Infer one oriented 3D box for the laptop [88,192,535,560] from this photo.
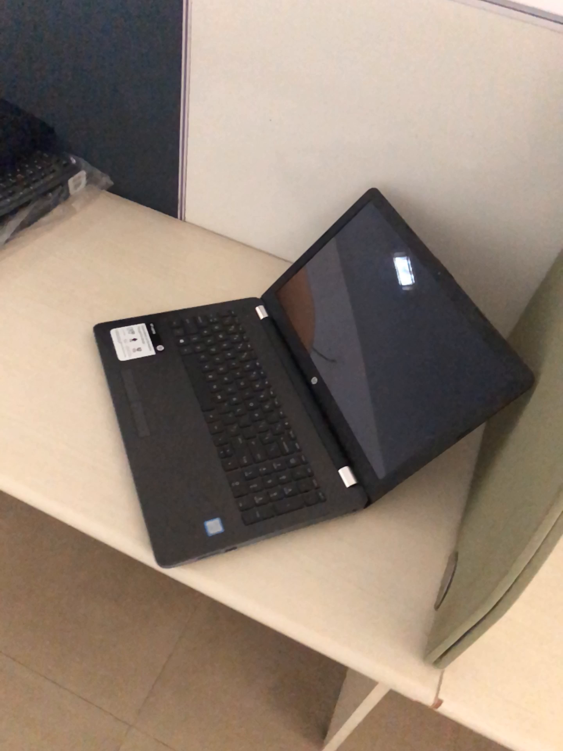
[{"bbox_3d":[0.006,-0.034,0.757,0.394,0.167,0.367,-12,51,-20],"label":"laptop"}]
